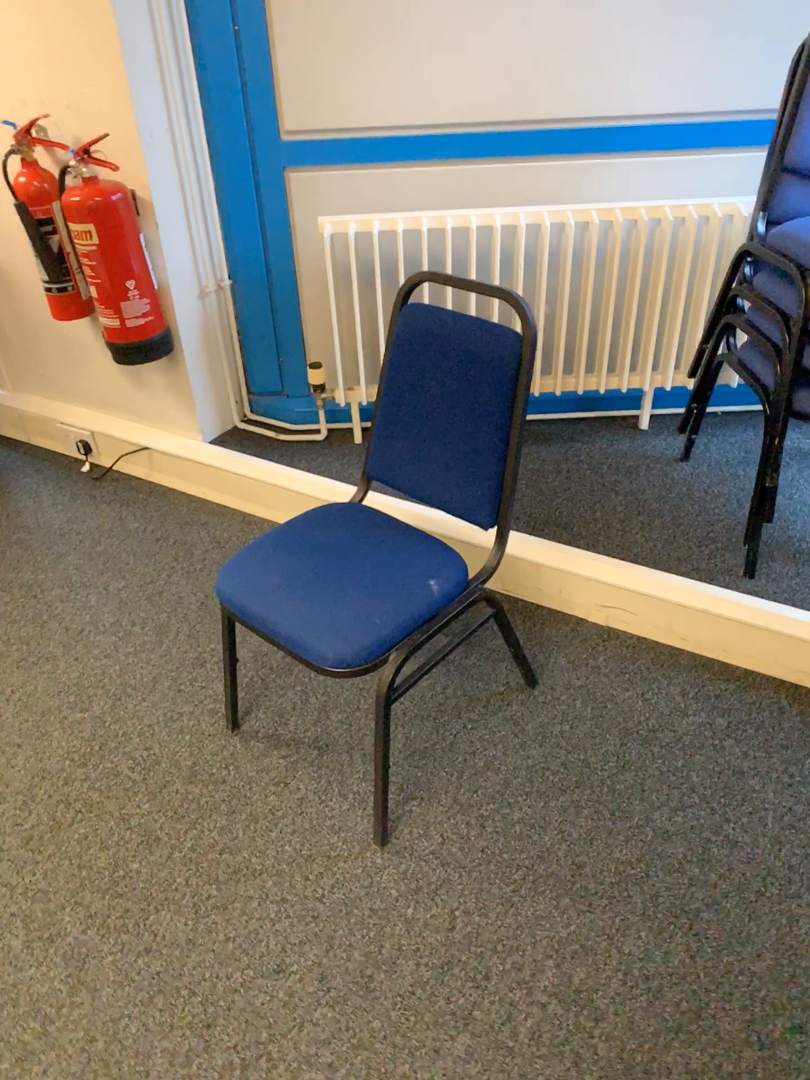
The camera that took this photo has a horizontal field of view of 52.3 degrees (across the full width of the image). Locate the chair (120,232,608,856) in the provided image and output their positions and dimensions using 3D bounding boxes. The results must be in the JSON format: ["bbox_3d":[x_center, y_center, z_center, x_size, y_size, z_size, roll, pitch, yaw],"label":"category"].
[{"bbox_3d":[-0.034,-0.014,1.490,0.474,0.842,0.577,26,44,33],"label":"chair"}]
